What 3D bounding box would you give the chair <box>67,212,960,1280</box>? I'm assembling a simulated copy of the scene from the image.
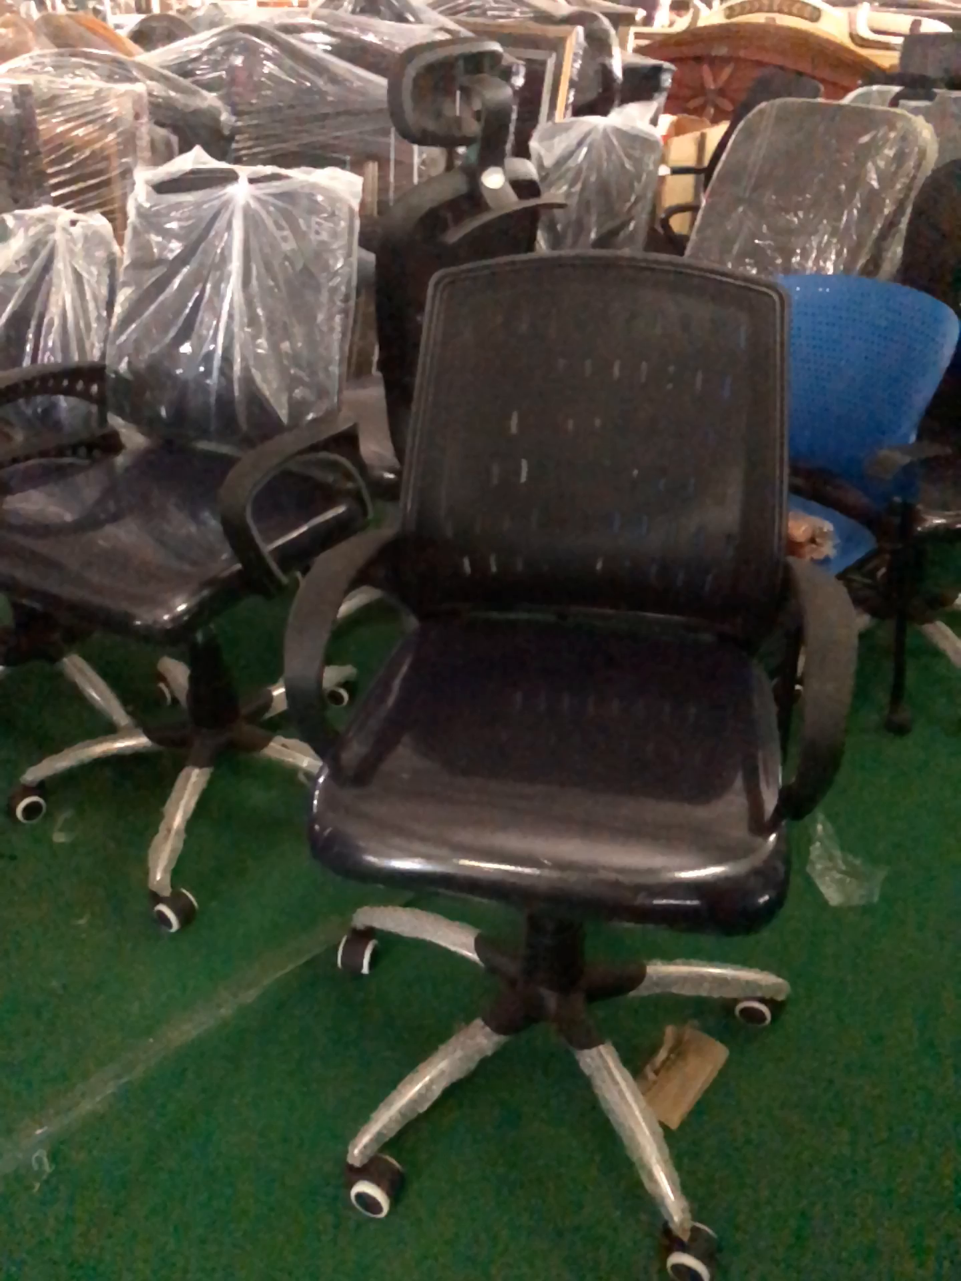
[{"bbox_3d":[0.151,0.086,1.308,0.730,0.995,0.875,5,32,9],"label":"chair"}]
